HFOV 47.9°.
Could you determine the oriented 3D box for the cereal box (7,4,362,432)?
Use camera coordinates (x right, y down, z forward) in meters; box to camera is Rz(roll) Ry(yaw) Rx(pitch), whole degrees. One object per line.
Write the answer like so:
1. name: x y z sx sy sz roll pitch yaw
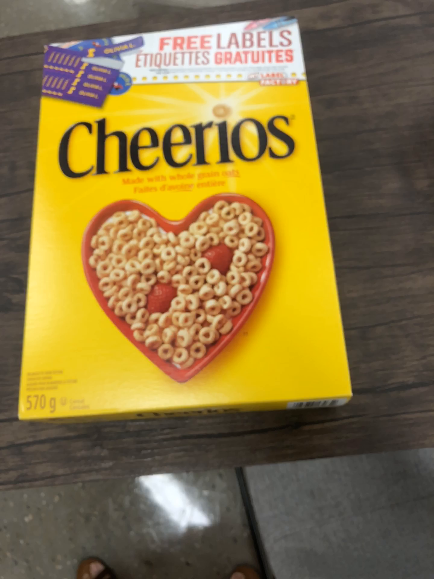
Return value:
1. cereal box: -0.032 -0.062 0.428 0.240 0.100 0.340 -5 72 3
